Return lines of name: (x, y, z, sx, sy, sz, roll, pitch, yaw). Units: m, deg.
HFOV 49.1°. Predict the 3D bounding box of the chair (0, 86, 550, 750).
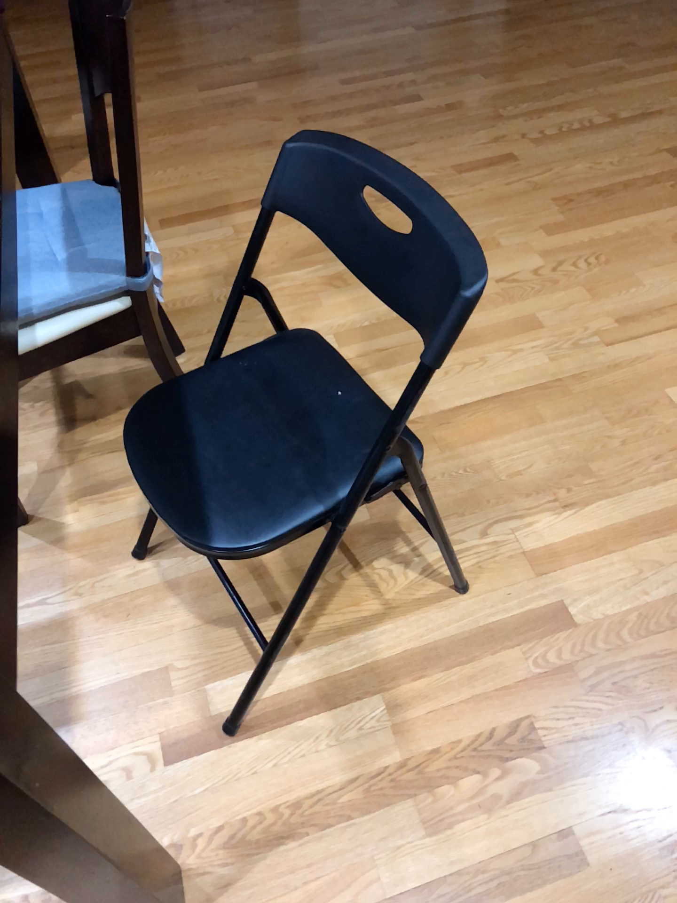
chair: (-0.110, -0.035, 1.125, 0.521, 0.697, 0.522, -27, 53, -17)
